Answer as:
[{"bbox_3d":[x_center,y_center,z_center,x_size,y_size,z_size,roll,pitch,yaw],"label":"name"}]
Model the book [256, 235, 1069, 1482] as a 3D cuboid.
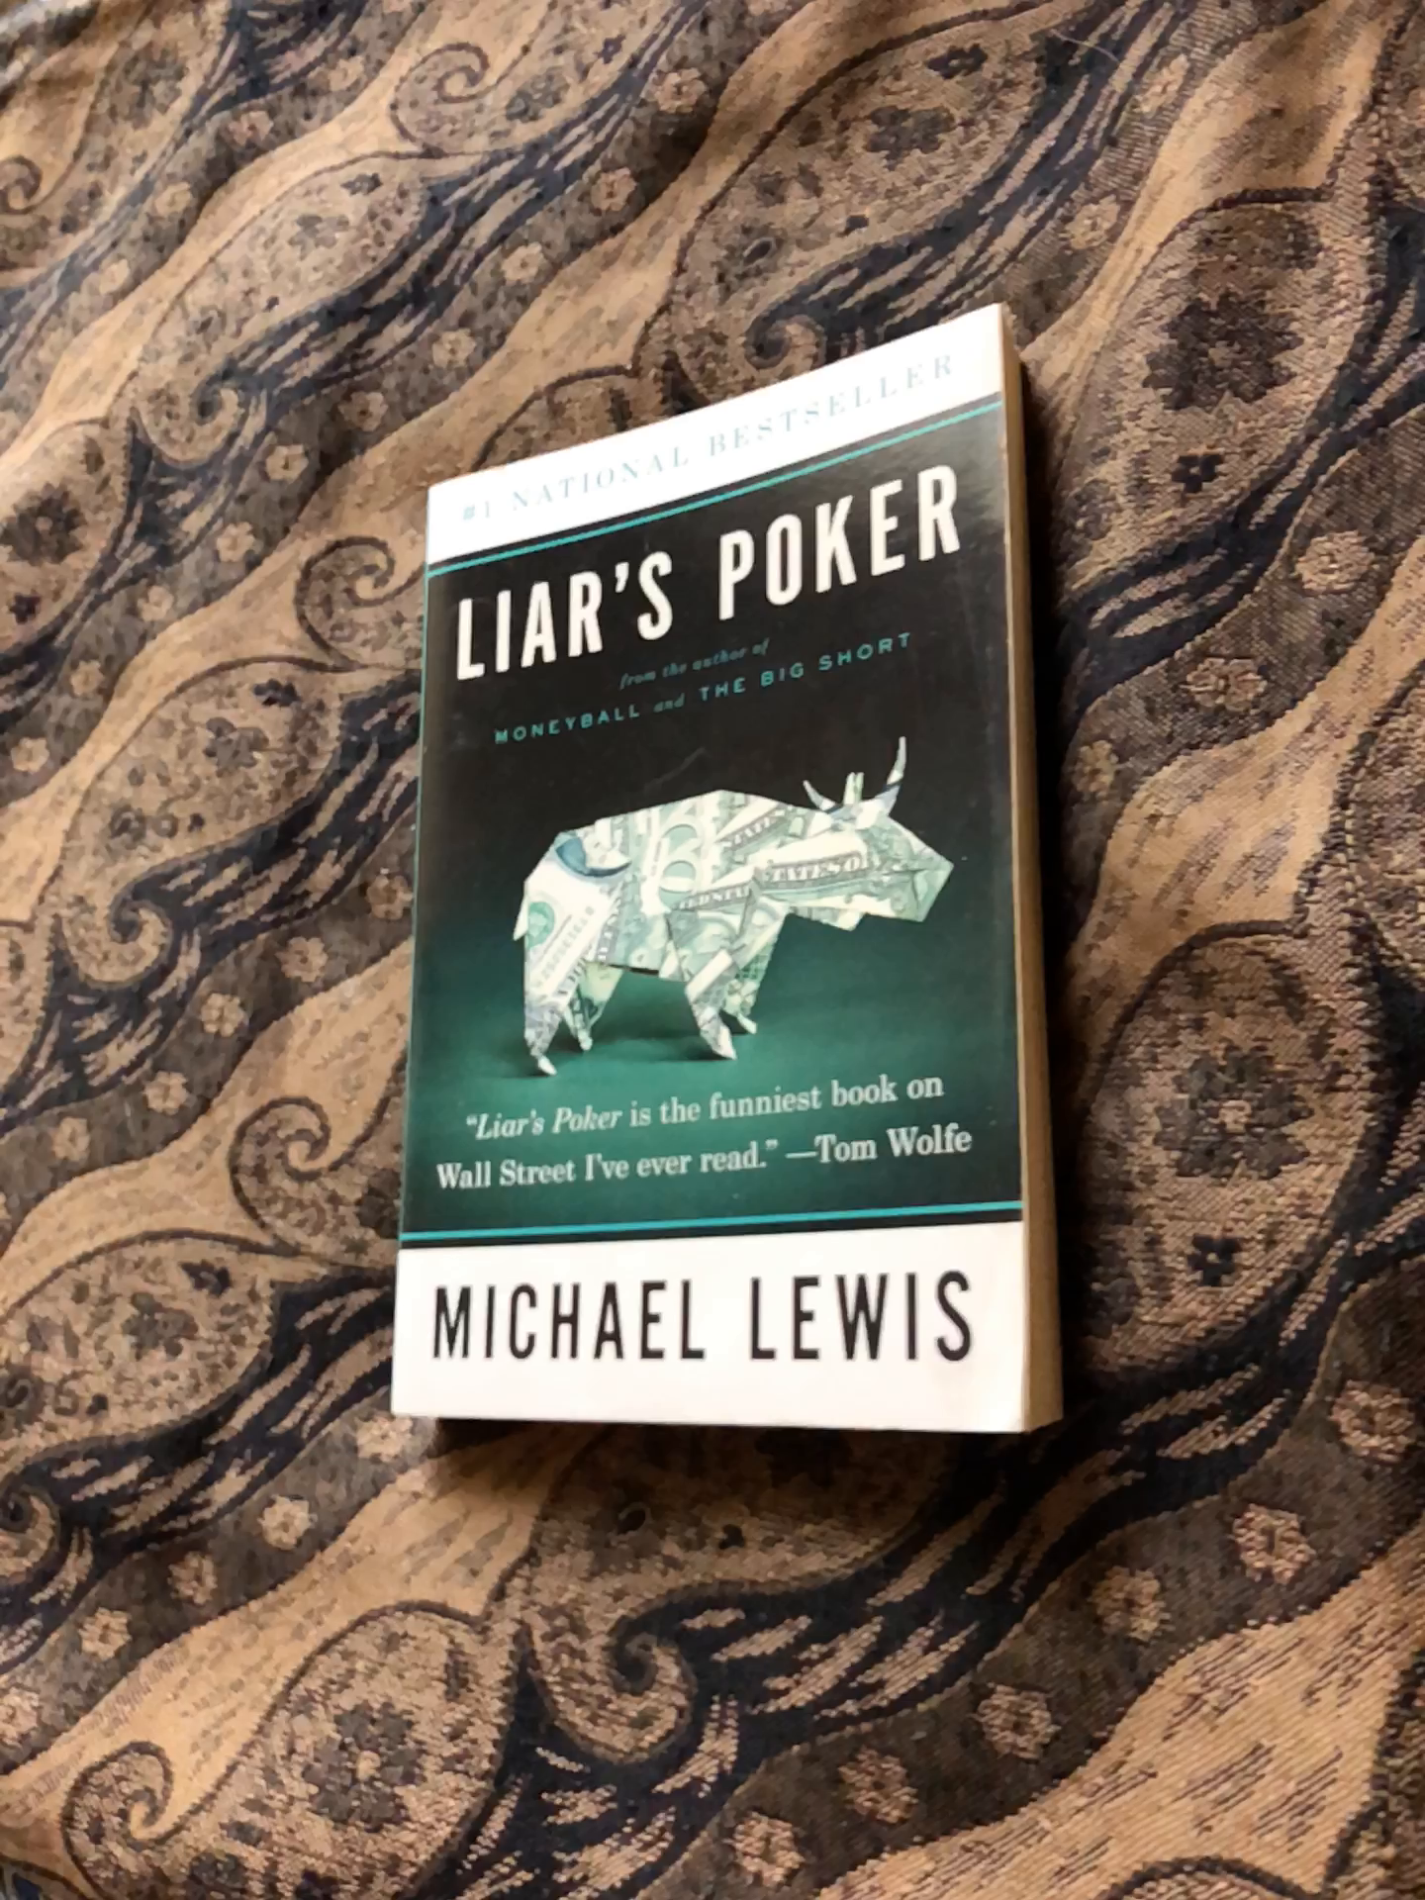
[{"bbox_3d":[-0.012,-0.013,0.313,0.150,0.040,0.210,-6,75,31],"label":"book"}]
